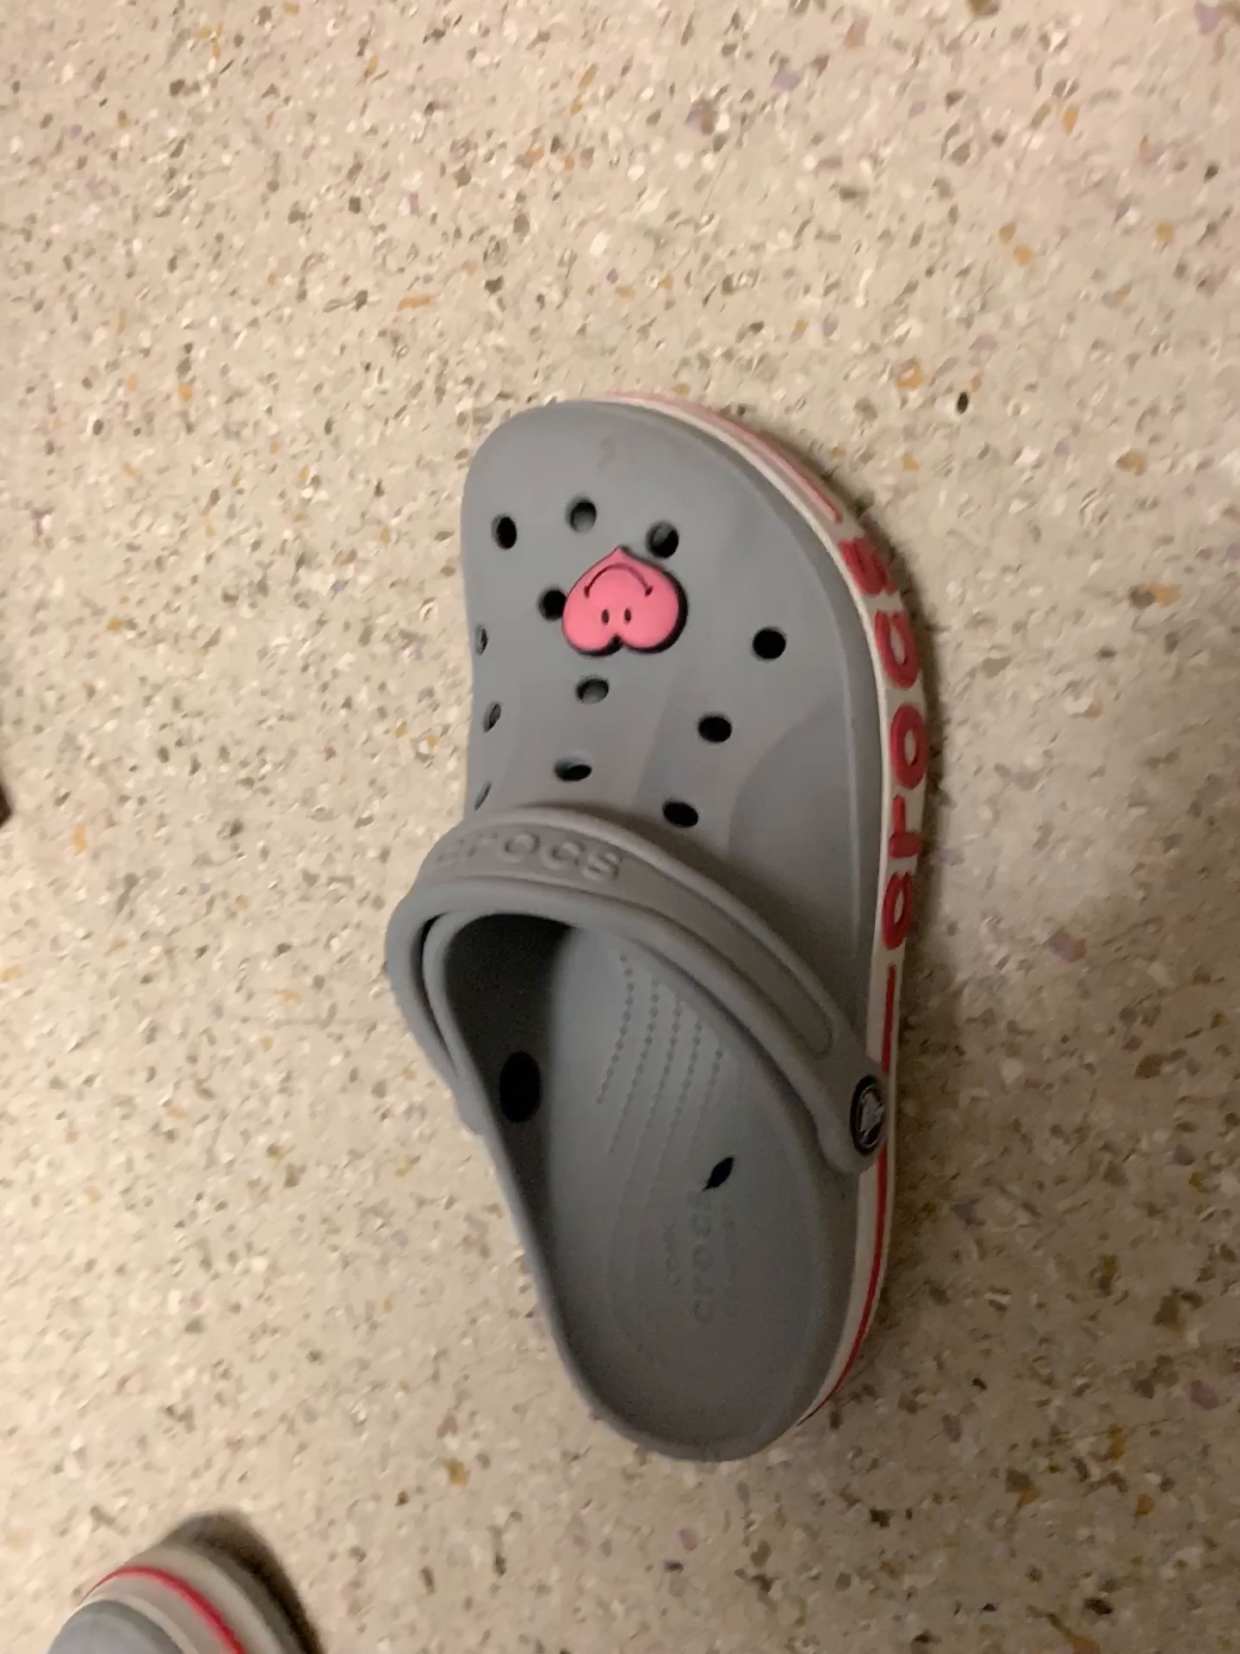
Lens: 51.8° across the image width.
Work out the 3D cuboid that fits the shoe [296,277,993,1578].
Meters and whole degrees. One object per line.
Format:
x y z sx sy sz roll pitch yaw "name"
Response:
0.007 0.020 0.288 0.110 0.091 0.226 -6 87 29 "shoe"
